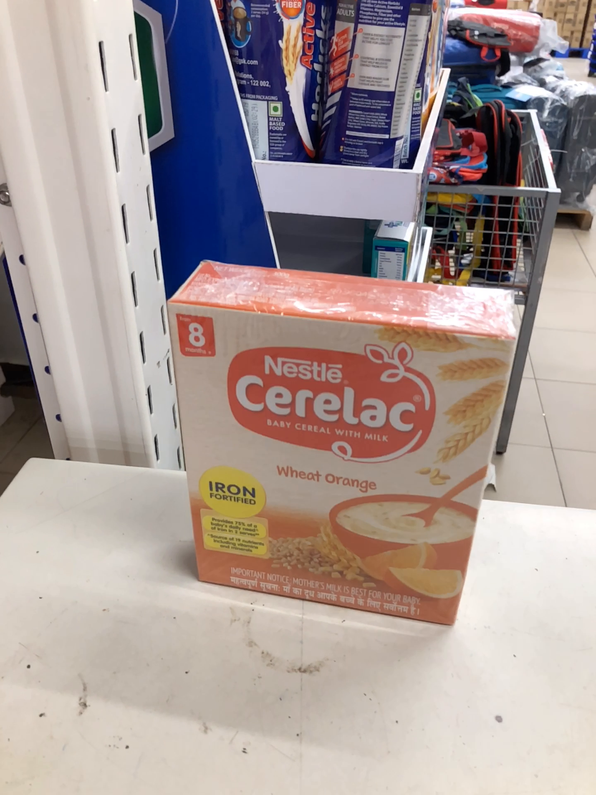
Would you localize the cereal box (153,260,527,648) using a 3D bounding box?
[{"bbox_3d":[0.019,0.037,0.354,0.160,0.199,0.050,8,35,10],"label":"cereal box"}]
